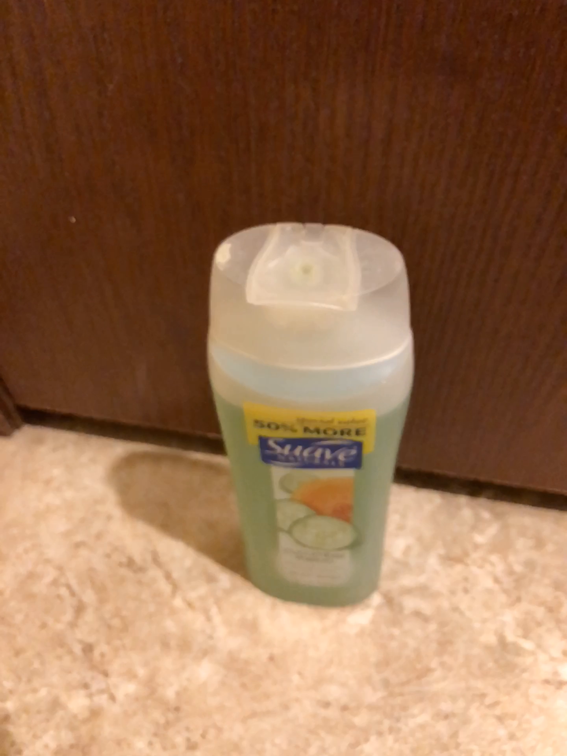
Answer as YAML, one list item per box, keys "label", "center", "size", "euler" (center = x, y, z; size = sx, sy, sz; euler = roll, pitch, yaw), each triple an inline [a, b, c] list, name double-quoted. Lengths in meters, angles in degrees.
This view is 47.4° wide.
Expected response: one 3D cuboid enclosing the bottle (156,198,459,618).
- label: "bottle"
  center: [0.014, 0.036, 0.297]
  size: [0.090, 0.240, 0.050]
  euler: [3, 49, 6]
